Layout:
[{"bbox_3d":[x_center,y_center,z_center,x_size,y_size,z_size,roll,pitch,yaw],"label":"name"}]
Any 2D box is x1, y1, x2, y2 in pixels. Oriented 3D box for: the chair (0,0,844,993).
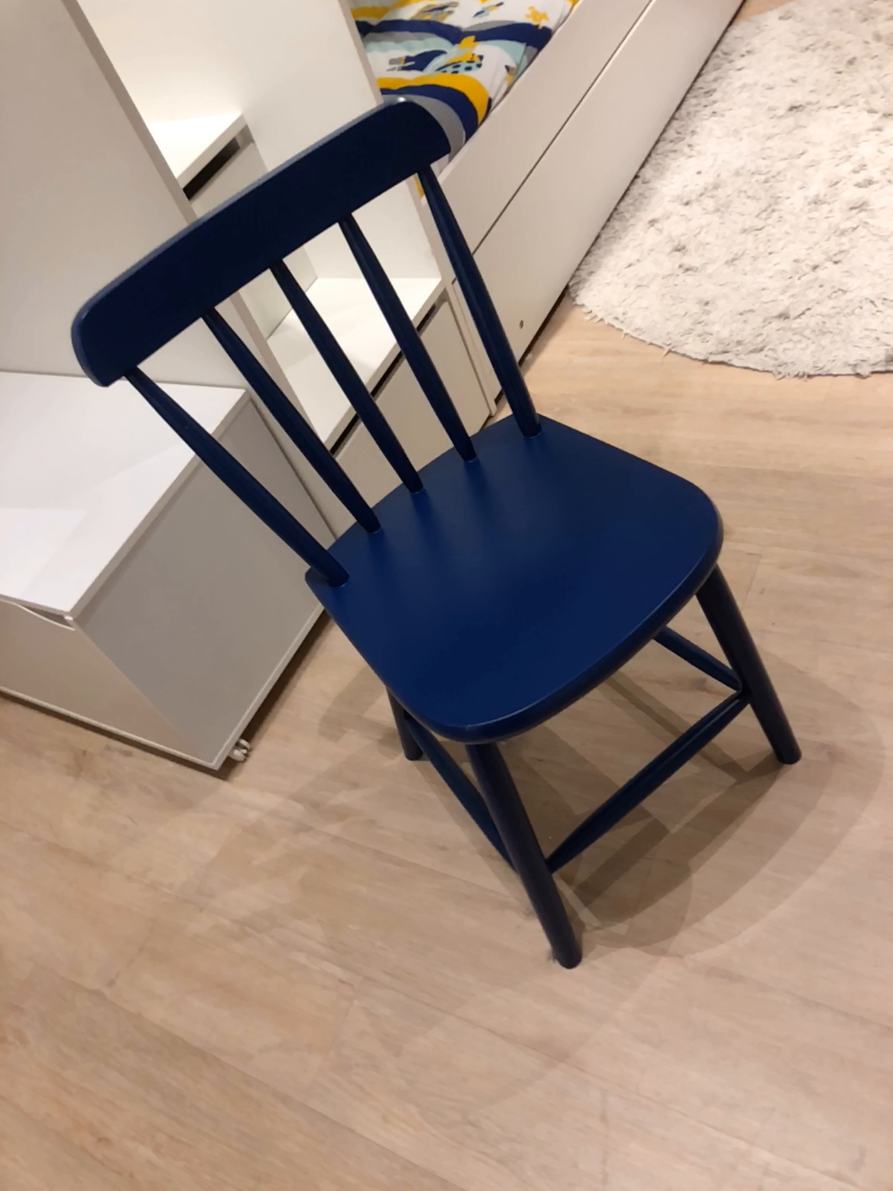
[{"bbox_3d":[0.033,-0.074,1.002,0.460,0.804,0.483,-38,46,-10],"label":"chair"}]
